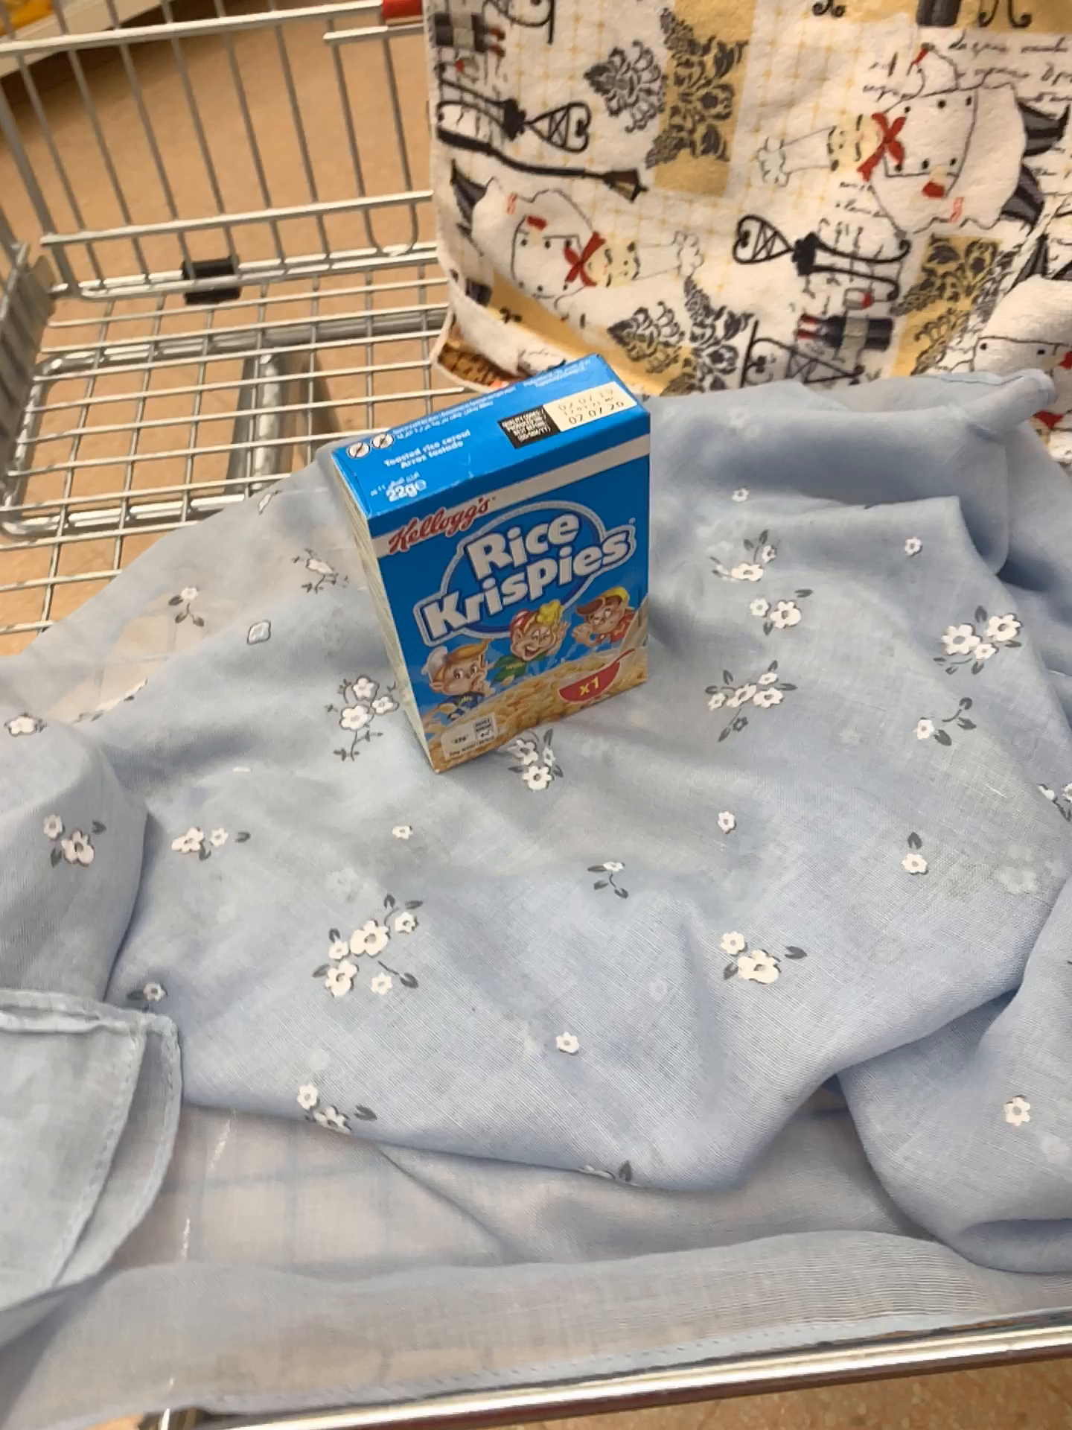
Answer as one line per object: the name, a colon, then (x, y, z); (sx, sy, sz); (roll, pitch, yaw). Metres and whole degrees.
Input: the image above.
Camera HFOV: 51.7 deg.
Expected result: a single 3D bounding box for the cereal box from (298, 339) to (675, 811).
cereal box: (-0.010, -0.039, 0.371); (0.100, 0.139, 0.040); (-25, 57, -13)
